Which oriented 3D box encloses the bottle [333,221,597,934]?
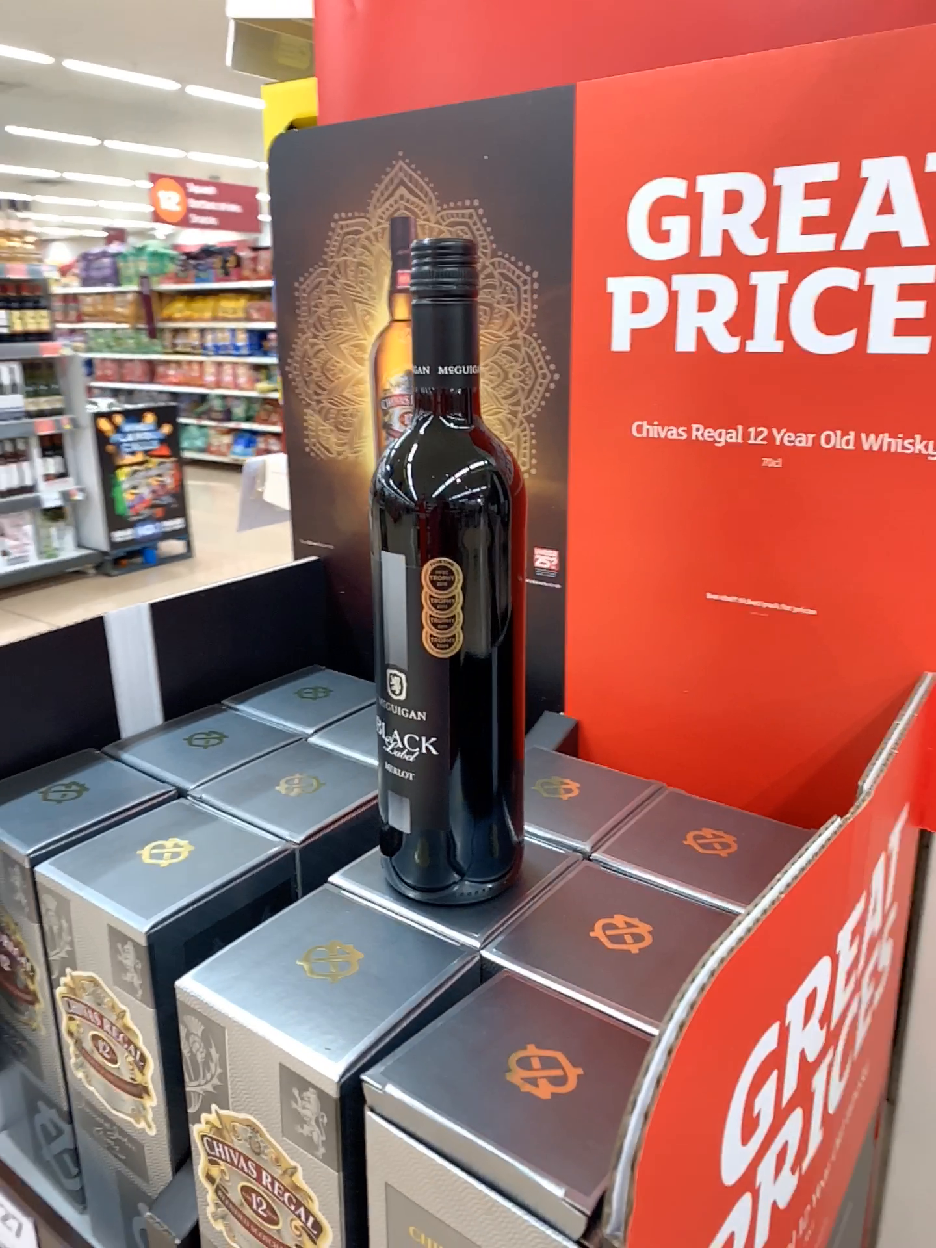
[{"bbox_3d":[0.000,-0.019,0.427,0.080,0.288,0.070,-13,21,-36],"label":"bottle"}]
